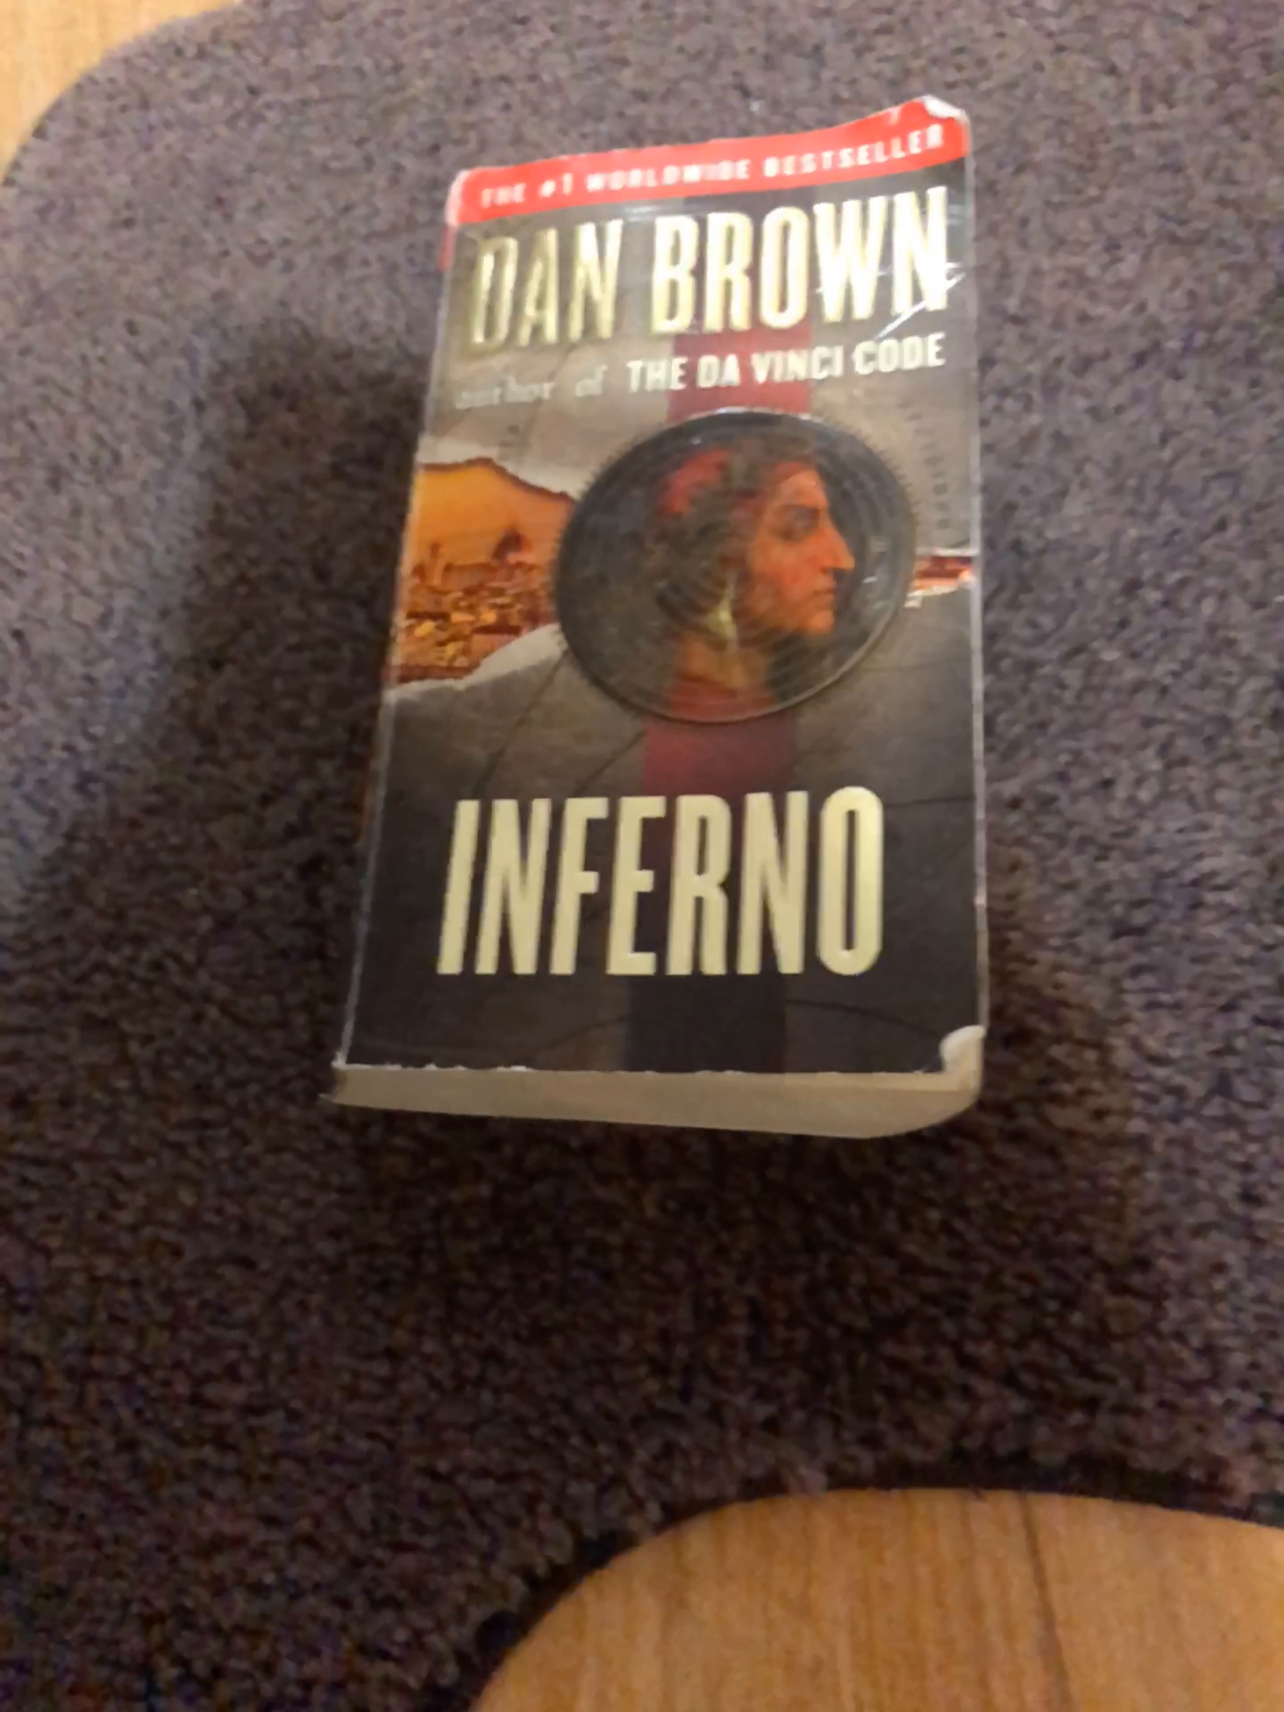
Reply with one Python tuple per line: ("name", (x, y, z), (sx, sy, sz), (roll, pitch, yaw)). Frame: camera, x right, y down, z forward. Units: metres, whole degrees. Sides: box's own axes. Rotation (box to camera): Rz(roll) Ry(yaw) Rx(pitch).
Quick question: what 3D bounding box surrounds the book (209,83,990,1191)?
("book", (0.001, -0.044, 0.273), (0.120, 0.050, 0.200), (0, 71, 10))
